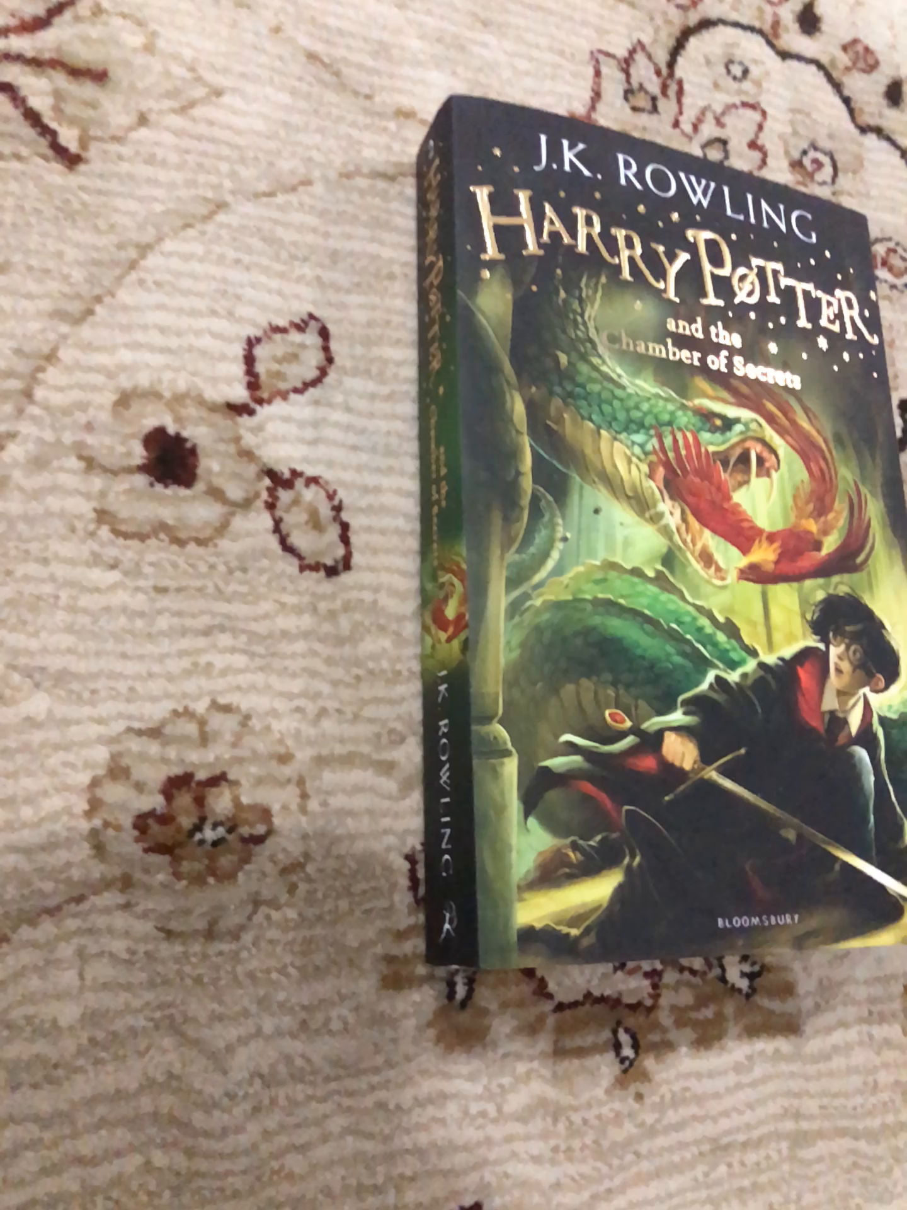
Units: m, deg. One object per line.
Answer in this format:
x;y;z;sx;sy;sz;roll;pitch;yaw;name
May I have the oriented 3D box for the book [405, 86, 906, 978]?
0.056;-0.018;0.250;0.131;0.030;0.200;5;72;-21;book
